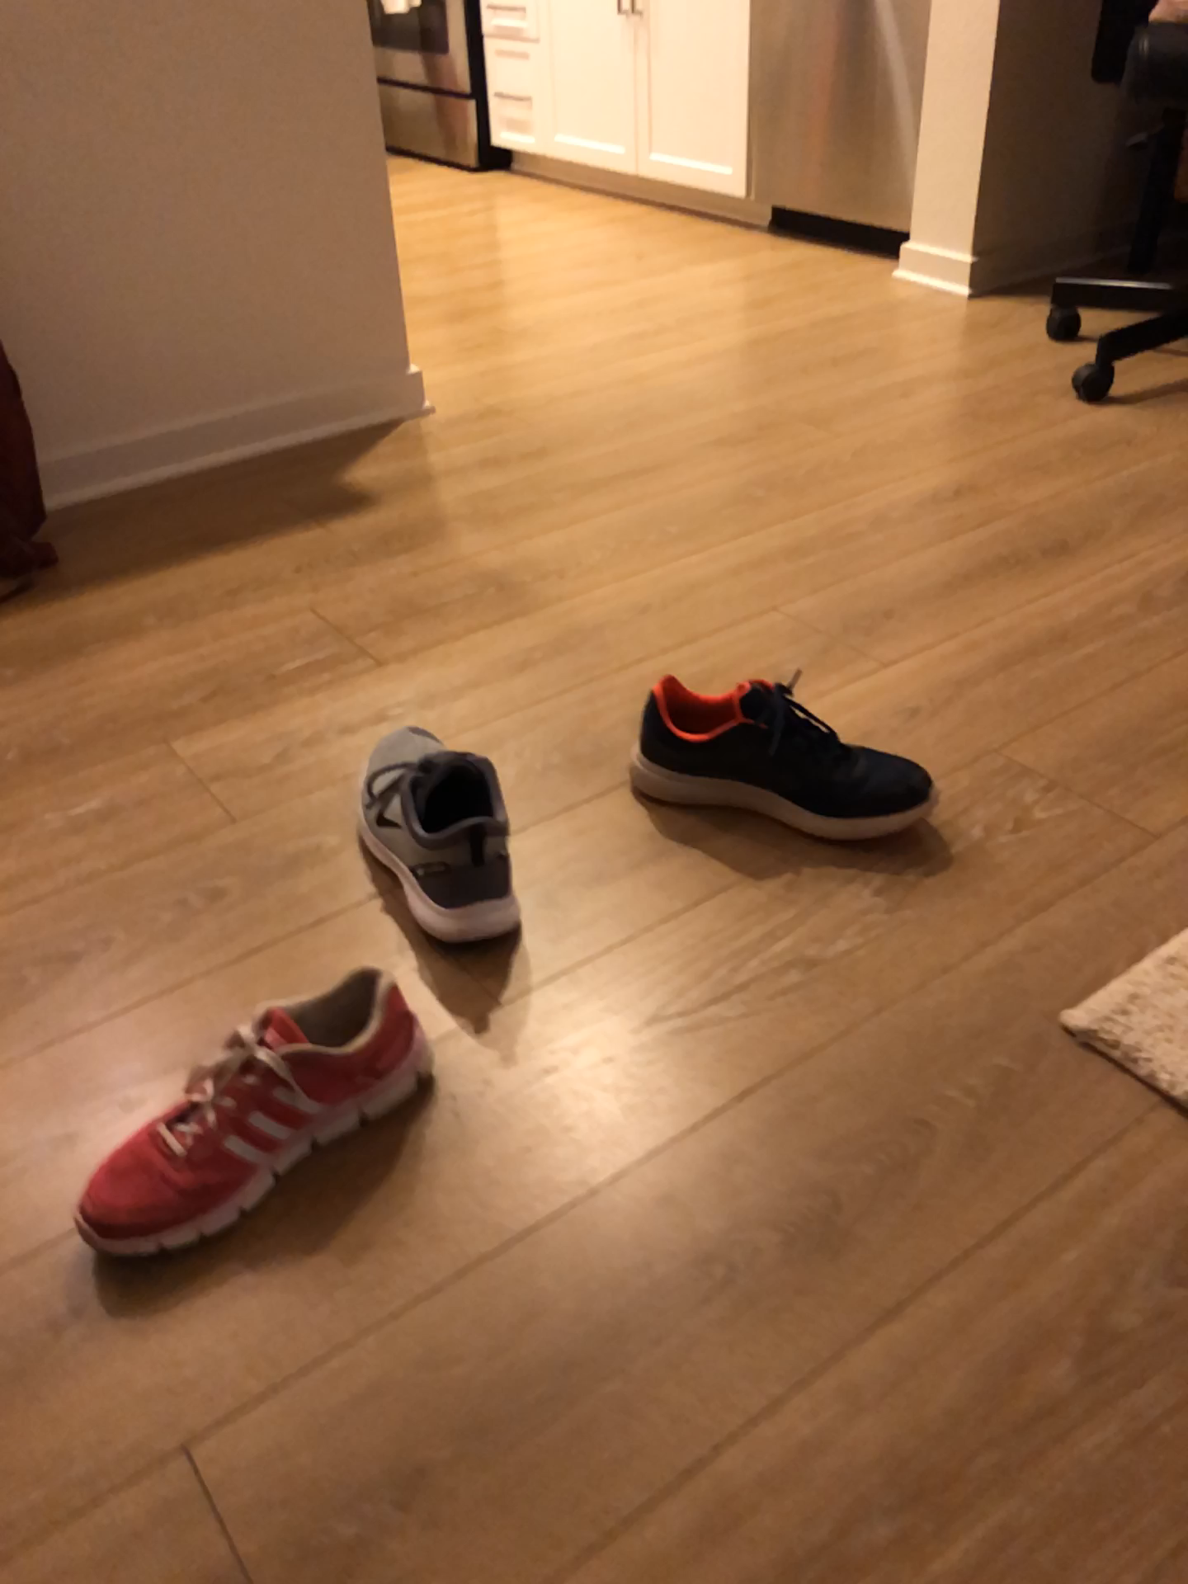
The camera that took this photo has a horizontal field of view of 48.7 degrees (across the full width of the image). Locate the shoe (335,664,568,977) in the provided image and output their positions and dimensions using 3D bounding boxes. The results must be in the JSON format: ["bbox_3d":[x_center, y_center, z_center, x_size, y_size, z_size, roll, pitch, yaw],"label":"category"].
[{"bbox_3d":[-0.137,0.012,1.188,0.130,0.099,0.322,-12,35,-14],"label":"shoe"}]

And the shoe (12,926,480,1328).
[{"bbox_3d":[-0.233,0.222,0.921,0.281,0.099,0.120,-26,41,-30],"label":"shoe"}]

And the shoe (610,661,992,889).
[{"bbox_3d":[0.189,-0.022,1.219,0.320,0.099,0.131,12,37,20],"label":"shoe"}]
